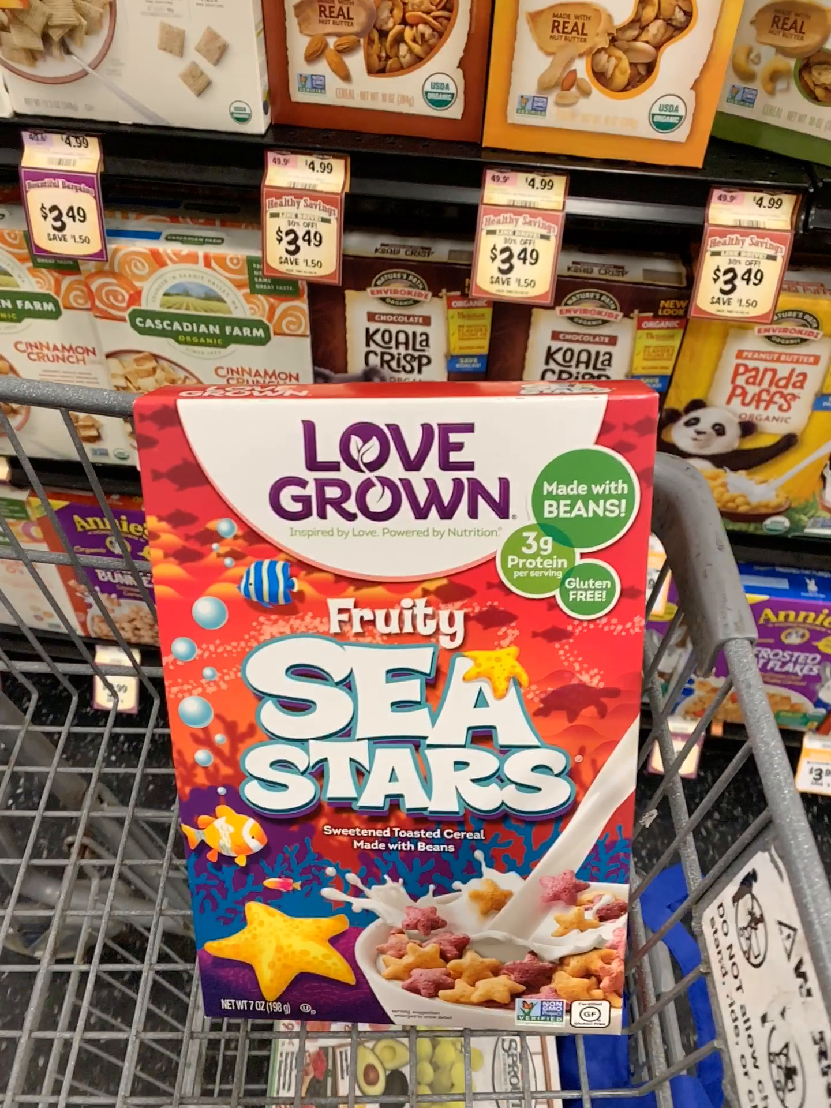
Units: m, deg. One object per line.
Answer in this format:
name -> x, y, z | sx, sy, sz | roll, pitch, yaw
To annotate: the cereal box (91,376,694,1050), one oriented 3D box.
cereal box -> -0.006, 0.064, 0.318 | 0.180, 0.249, 0.050 | 1, 19, 4
